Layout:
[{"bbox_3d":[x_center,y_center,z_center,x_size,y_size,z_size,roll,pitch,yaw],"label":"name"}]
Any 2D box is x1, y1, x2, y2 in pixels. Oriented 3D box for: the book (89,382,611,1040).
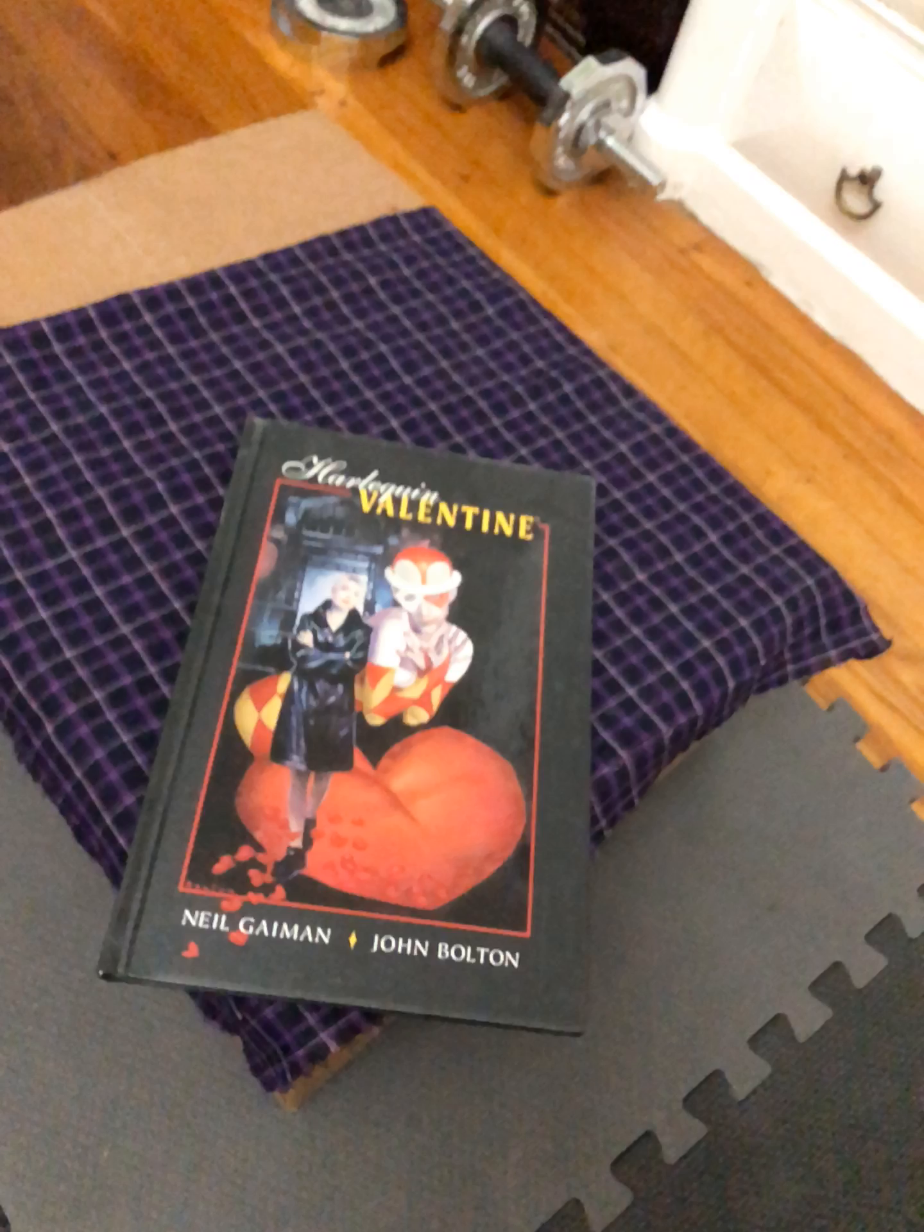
[{"bbox_3d":[-0.029,0.022,0.438,0.180,0.020,0.281,8,56,-6],"label":"book"}]
